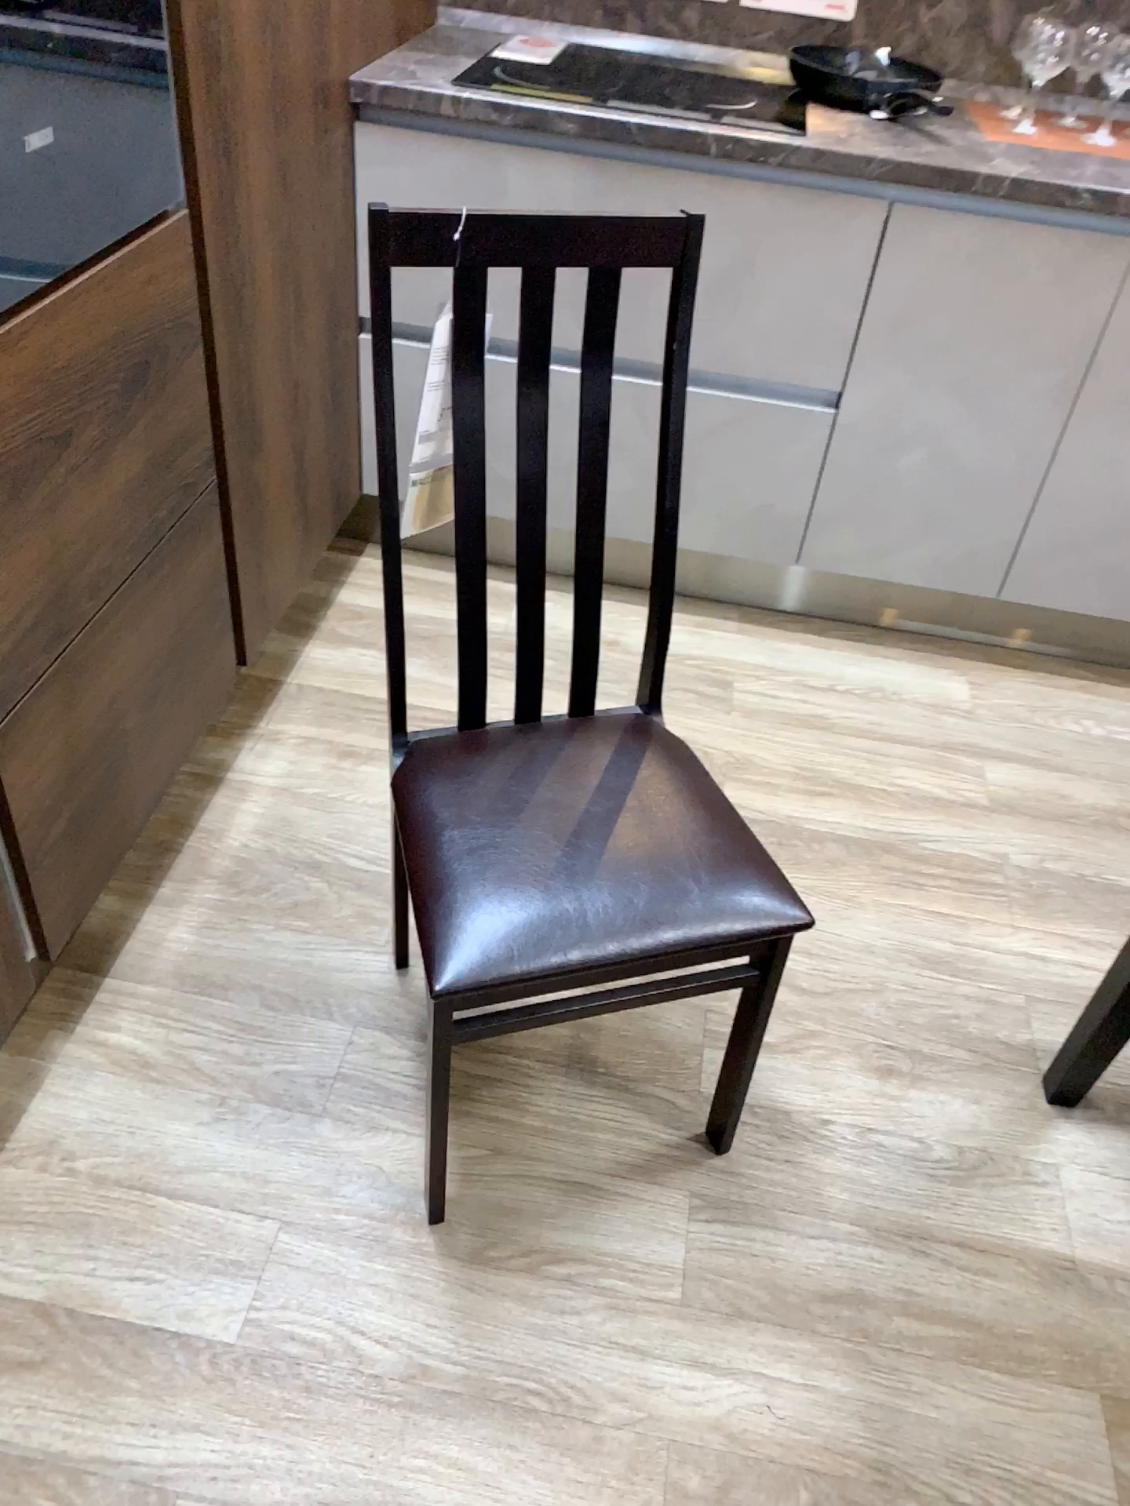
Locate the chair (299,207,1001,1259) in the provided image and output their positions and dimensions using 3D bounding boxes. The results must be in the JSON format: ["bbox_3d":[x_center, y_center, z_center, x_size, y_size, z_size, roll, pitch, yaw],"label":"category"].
[{"bbox_3d":[-0.016,0.013,1.283,0.431,1.013,0.523,-8,42,-18],"label":"chair"}]
